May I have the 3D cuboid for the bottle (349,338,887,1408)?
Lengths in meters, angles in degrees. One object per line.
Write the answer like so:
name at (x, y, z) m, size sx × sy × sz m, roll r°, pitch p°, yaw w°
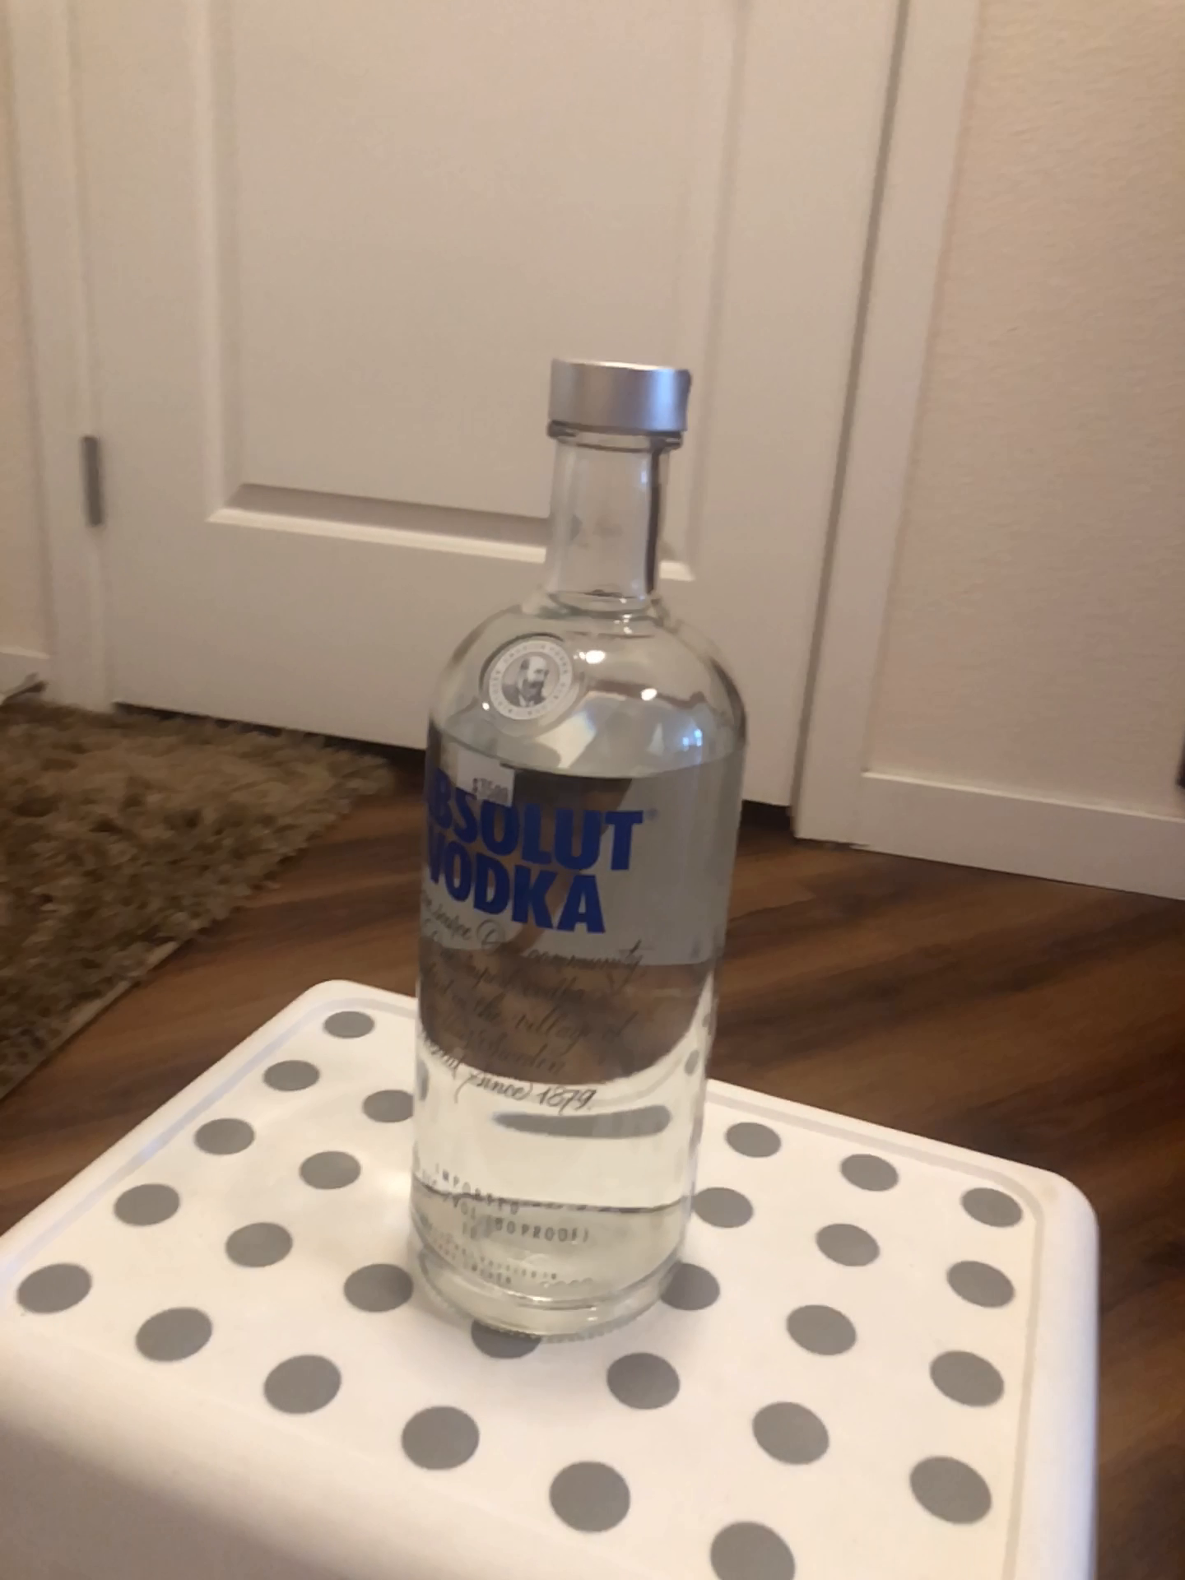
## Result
bottle at (-0.001, 0.018, 0.371) m, size 0.090 × 0.269 × 0.100 m, roll 22°, pitch 27°, yaw 39°
